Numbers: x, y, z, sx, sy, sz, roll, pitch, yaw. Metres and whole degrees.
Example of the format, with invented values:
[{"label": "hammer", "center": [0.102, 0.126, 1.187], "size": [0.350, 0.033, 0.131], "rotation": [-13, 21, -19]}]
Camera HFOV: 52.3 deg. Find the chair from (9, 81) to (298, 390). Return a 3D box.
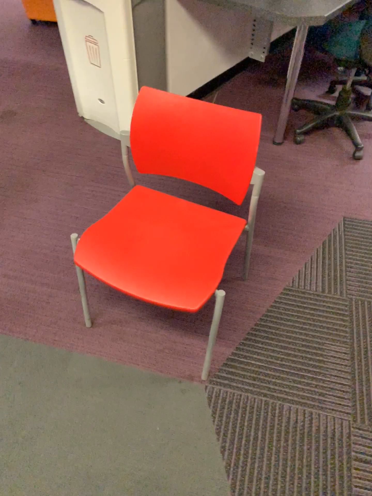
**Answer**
[{"label": "chair", "center": [-0.046, -0.040, 1.247], "size": [0.541, 0.684, 0.564], "rotation": [21, 53, 20]}]
